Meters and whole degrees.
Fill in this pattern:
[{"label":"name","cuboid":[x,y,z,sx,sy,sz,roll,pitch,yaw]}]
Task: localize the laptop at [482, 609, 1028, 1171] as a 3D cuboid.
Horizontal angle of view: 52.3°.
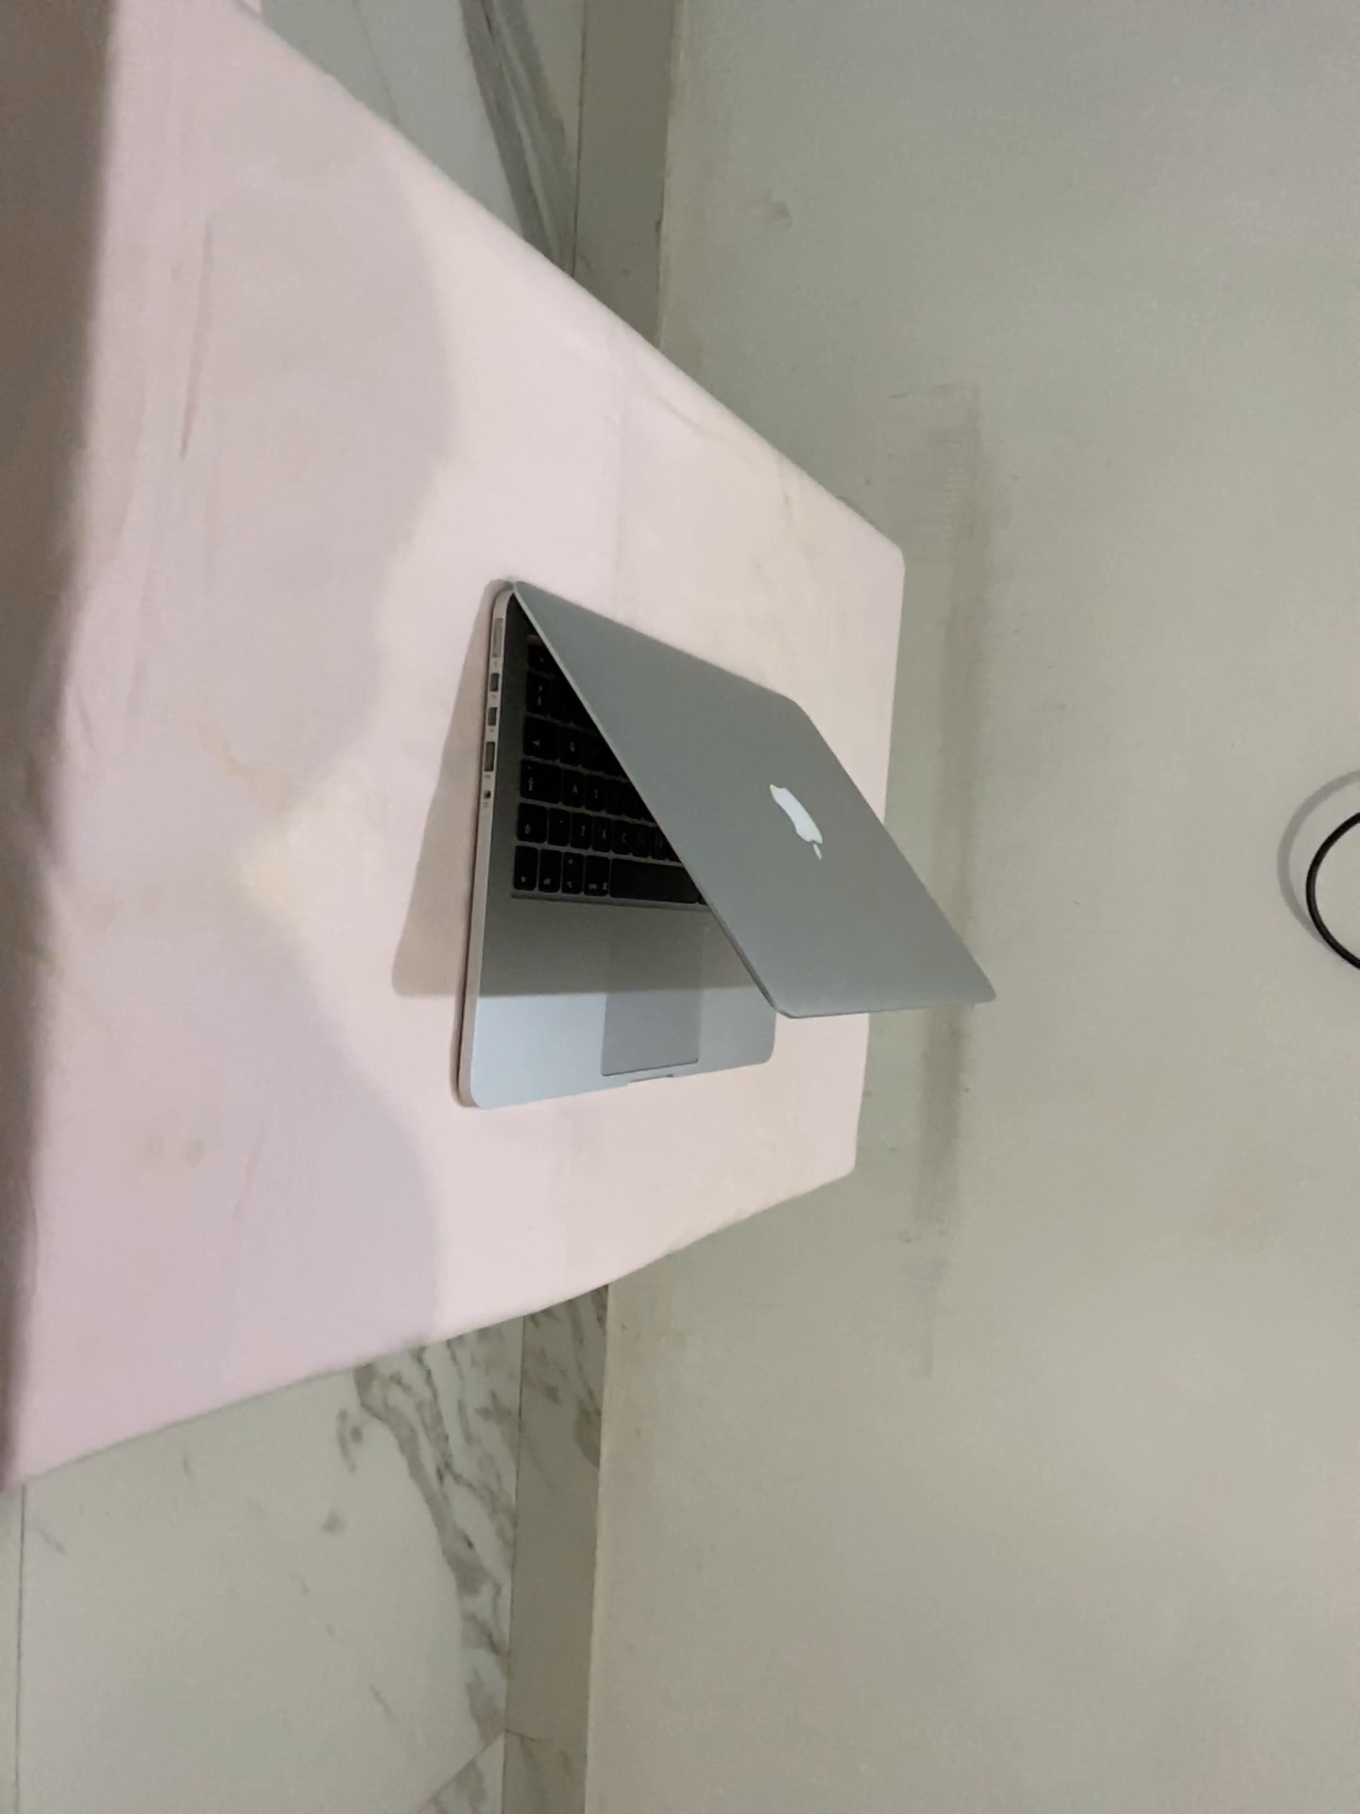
[{"label":"laptop","cuboid":[0.057,-0.008,0.674,0.298,0.138,0.208,3,92,-64]}]
